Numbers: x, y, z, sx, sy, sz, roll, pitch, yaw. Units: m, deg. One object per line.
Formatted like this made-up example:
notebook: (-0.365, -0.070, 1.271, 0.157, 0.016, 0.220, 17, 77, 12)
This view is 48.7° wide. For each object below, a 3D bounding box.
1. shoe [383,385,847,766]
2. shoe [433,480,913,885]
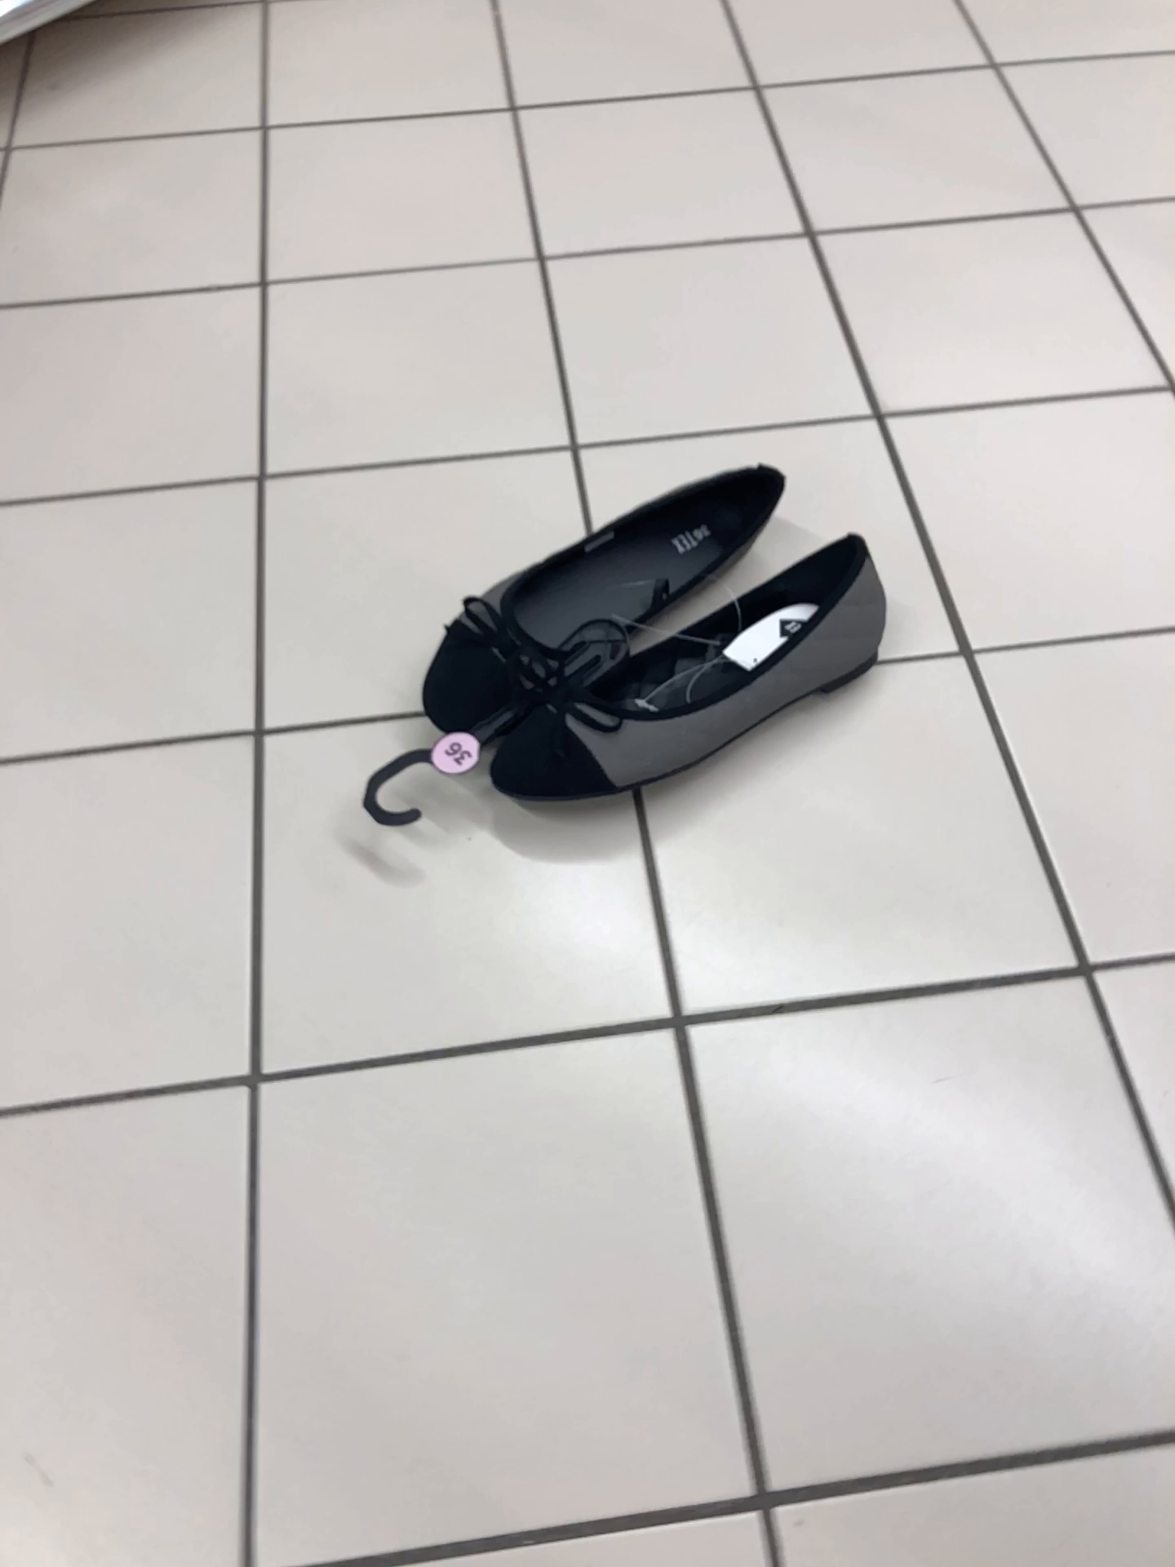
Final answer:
shoe: (0.015, -0.115, 0.710, 0.243, 0.081, 0.078, -33, 84, -20)
shoe: (0.052, -0.058, 0.674, 0.243, 0.081, 0.078, -31, 46, -18)
